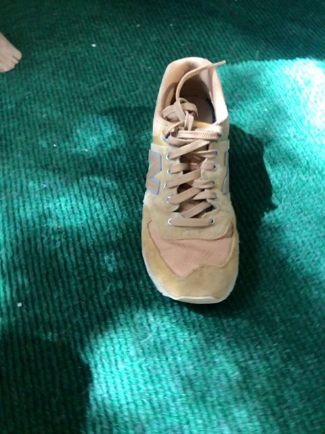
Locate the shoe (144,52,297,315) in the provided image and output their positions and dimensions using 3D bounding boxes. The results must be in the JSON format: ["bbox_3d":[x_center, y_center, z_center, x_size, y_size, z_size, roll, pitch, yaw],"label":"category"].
[{"bbox_3d":[0.040,-0.043,0.373,0.110,0.100,0.261,-2,60,-2],"label":"shoe"}]
